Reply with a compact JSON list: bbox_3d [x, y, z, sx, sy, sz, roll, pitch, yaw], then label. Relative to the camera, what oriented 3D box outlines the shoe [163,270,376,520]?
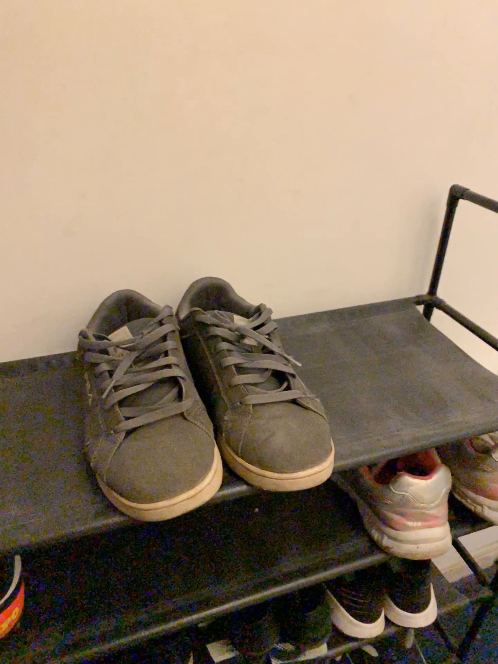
[{"bbox_3d":[-0.001,0.037,0.540,0.120,0.079,0.302,-11,31,-15],"label":"shoe"}]

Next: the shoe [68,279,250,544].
[{"bbox_3d":[-0.100,0.048,0.488,0.120,0.079,0.272,-11,31,-15],"label":"shoe"}]
